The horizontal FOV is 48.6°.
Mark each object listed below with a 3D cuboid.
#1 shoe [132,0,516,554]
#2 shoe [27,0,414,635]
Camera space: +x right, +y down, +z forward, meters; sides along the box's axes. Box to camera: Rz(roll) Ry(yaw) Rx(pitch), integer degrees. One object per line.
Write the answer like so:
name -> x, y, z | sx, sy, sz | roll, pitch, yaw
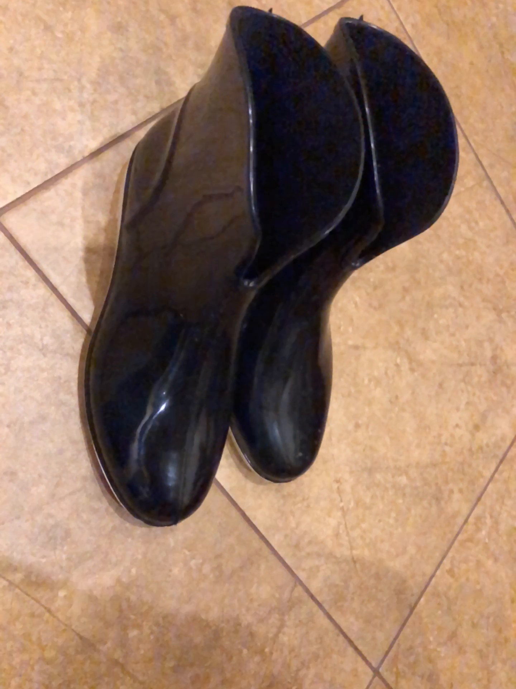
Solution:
shoe -> 0.022, -0.039, 0.380 | 0.110, 0.229, 0.280 | -5, 85, -32
shoe -> -0.047, -0.034, 0.318 | 0.110, 0.229, 0.280 | 3, 82, -31
